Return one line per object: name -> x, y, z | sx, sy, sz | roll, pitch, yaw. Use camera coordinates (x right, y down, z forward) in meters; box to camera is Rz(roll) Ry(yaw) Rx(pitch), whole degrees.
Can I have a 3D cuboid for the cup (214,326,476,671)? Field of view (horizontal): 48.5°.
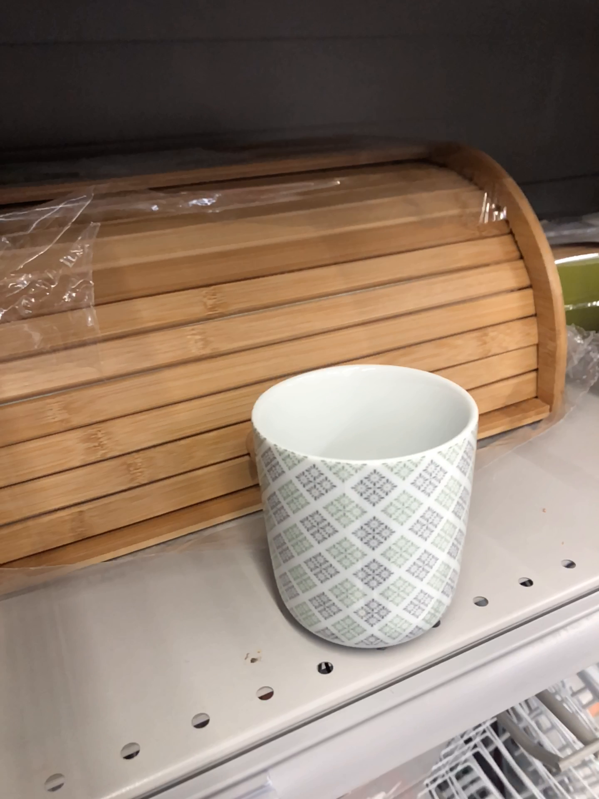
cup -> 0.027, 0.032, 0.287 | 0.085, 0.090, 0.119 | 3, 25, 11
